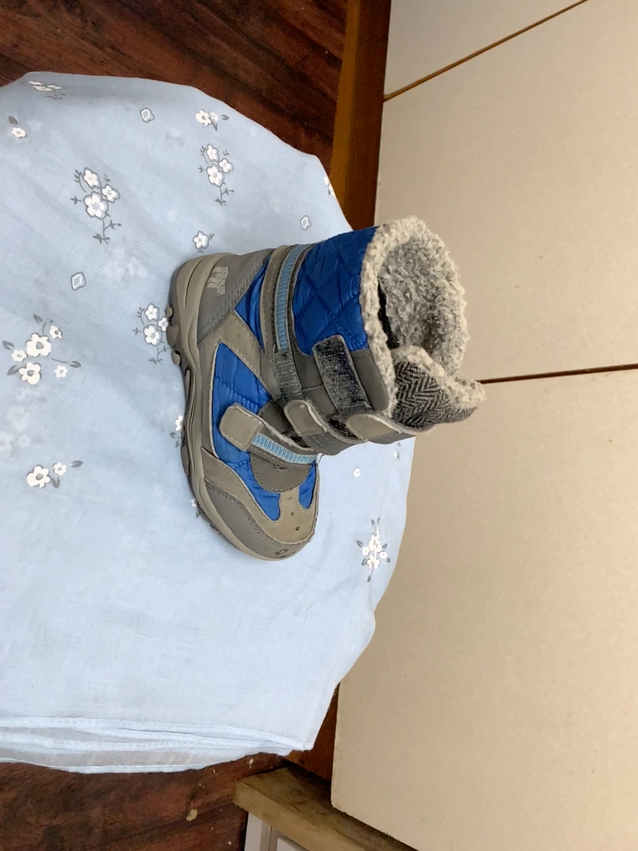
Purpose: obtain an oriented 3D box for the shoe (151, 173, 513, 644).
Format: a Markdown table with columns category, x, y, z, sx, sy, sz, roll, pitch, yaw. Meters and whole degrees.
| category | x | y | z | sx | sy | sz | roll | pitch | yaw |
| --- | --- | --- | --- | --- | --- | --- | --- | --- | --- |
| shoe | 0.003 | -0.008 | 0.363 | 0.091 | 0.159 | 0.200 | -11 | 96 | -45 |
